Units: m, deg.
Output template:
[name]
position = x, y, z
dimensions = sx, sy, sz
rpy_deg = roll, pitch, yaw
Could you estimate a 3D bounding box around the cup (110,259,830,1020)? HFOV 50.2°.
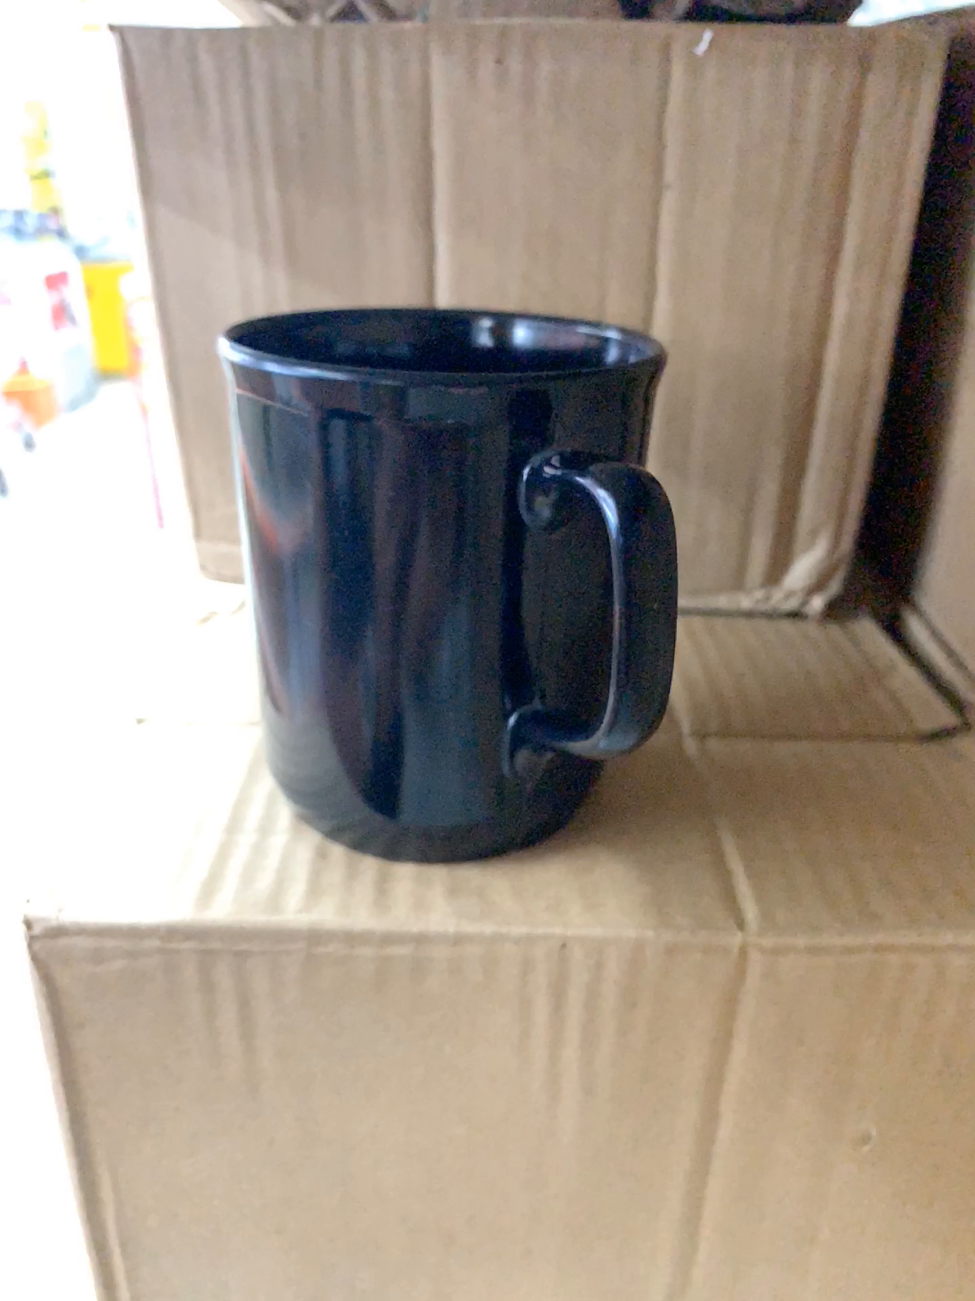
[cup]
position = -0.009, -0.015, 0.182
dimensions = 0.070, 0.089, 0.101
rpy_deg = -17, 29, -29
